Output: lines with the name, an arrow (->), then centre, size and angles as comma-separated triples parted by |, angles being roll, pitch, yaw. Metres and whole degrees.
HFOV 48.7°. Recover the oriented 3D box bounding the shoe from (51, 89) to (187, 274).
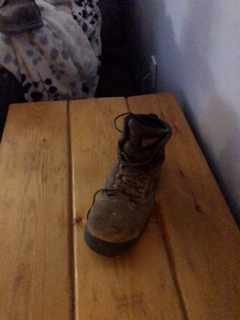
shoe -> 0.019, 0.018, 0.475 | 0.130, 0.130, 0.291 | 15, 49, 13
